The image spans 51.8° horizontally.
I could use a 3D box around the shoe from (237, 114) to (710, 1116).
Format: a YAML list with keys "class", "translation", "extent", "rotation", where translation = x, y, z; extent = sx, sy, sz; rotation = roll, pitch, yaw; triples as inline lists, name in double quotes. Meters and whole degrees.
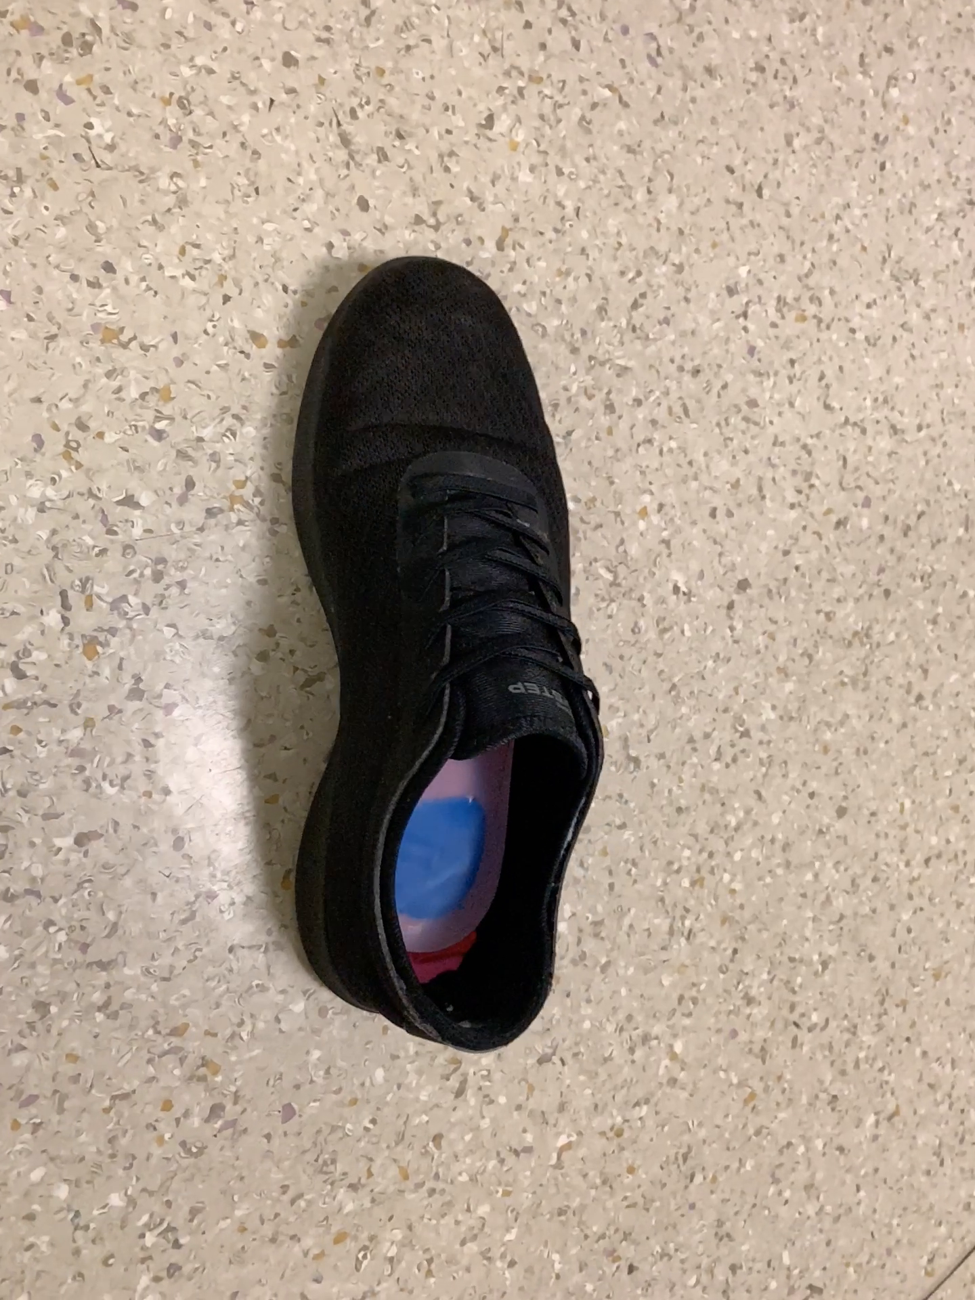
- class: "shoe"
  translation: [-0.008, -0.008, 0.347]
  extent: [0.104, 0.099, 0.279]
  rotation: [6, 88, -29]
